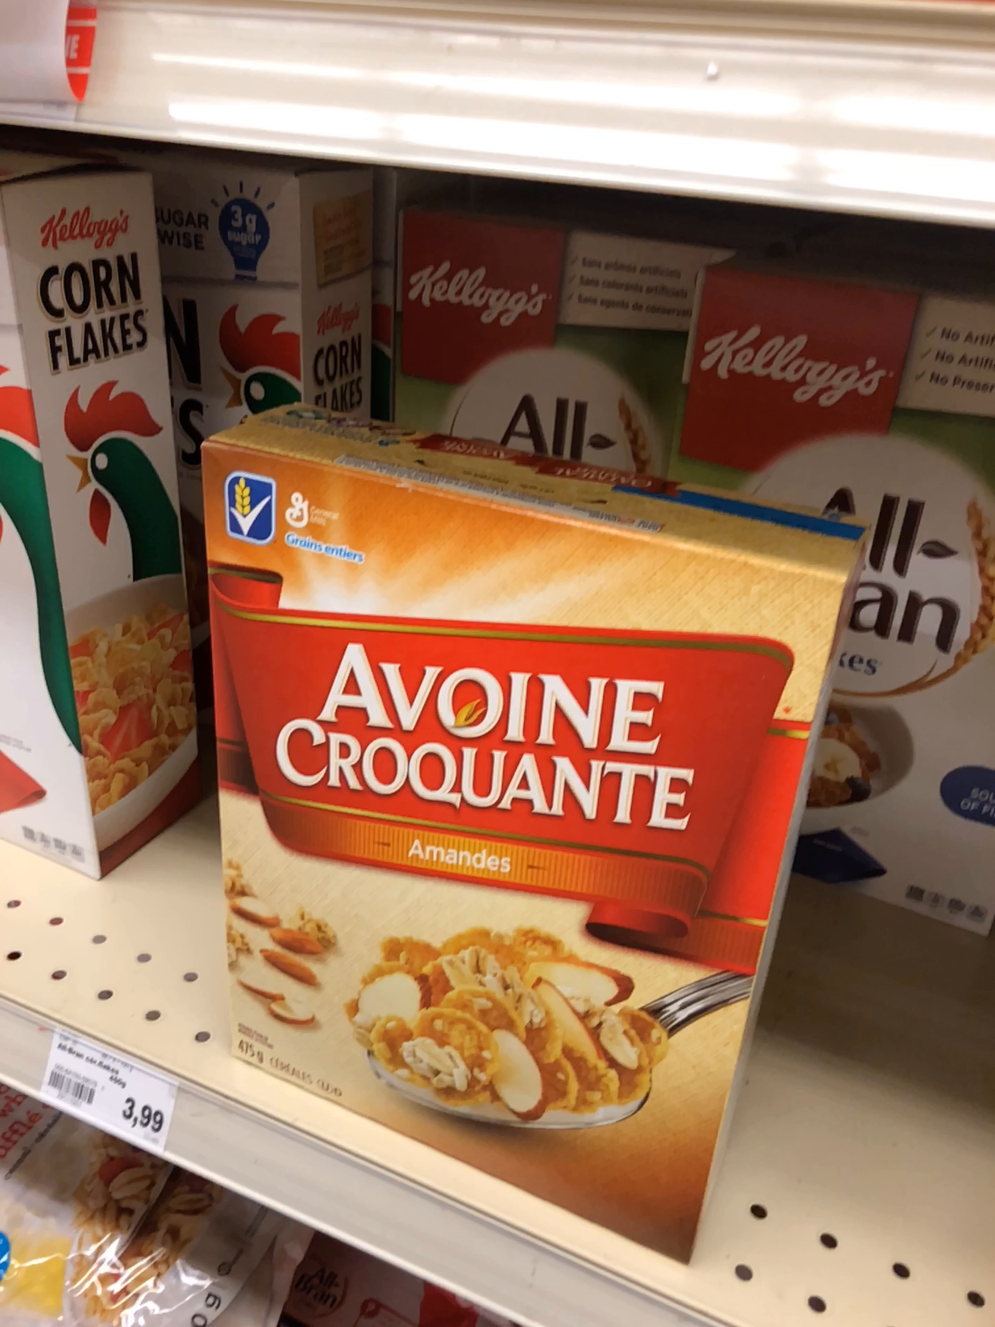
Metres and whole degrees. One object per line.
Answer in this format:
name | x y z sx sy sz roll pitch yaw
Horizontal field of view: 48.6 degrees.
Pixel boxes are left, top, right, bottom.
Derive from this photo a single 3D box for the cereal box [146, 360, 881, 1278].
cereal box | -0.007 0.054 0.373 0.200 0.268 0.060 16 30 20
